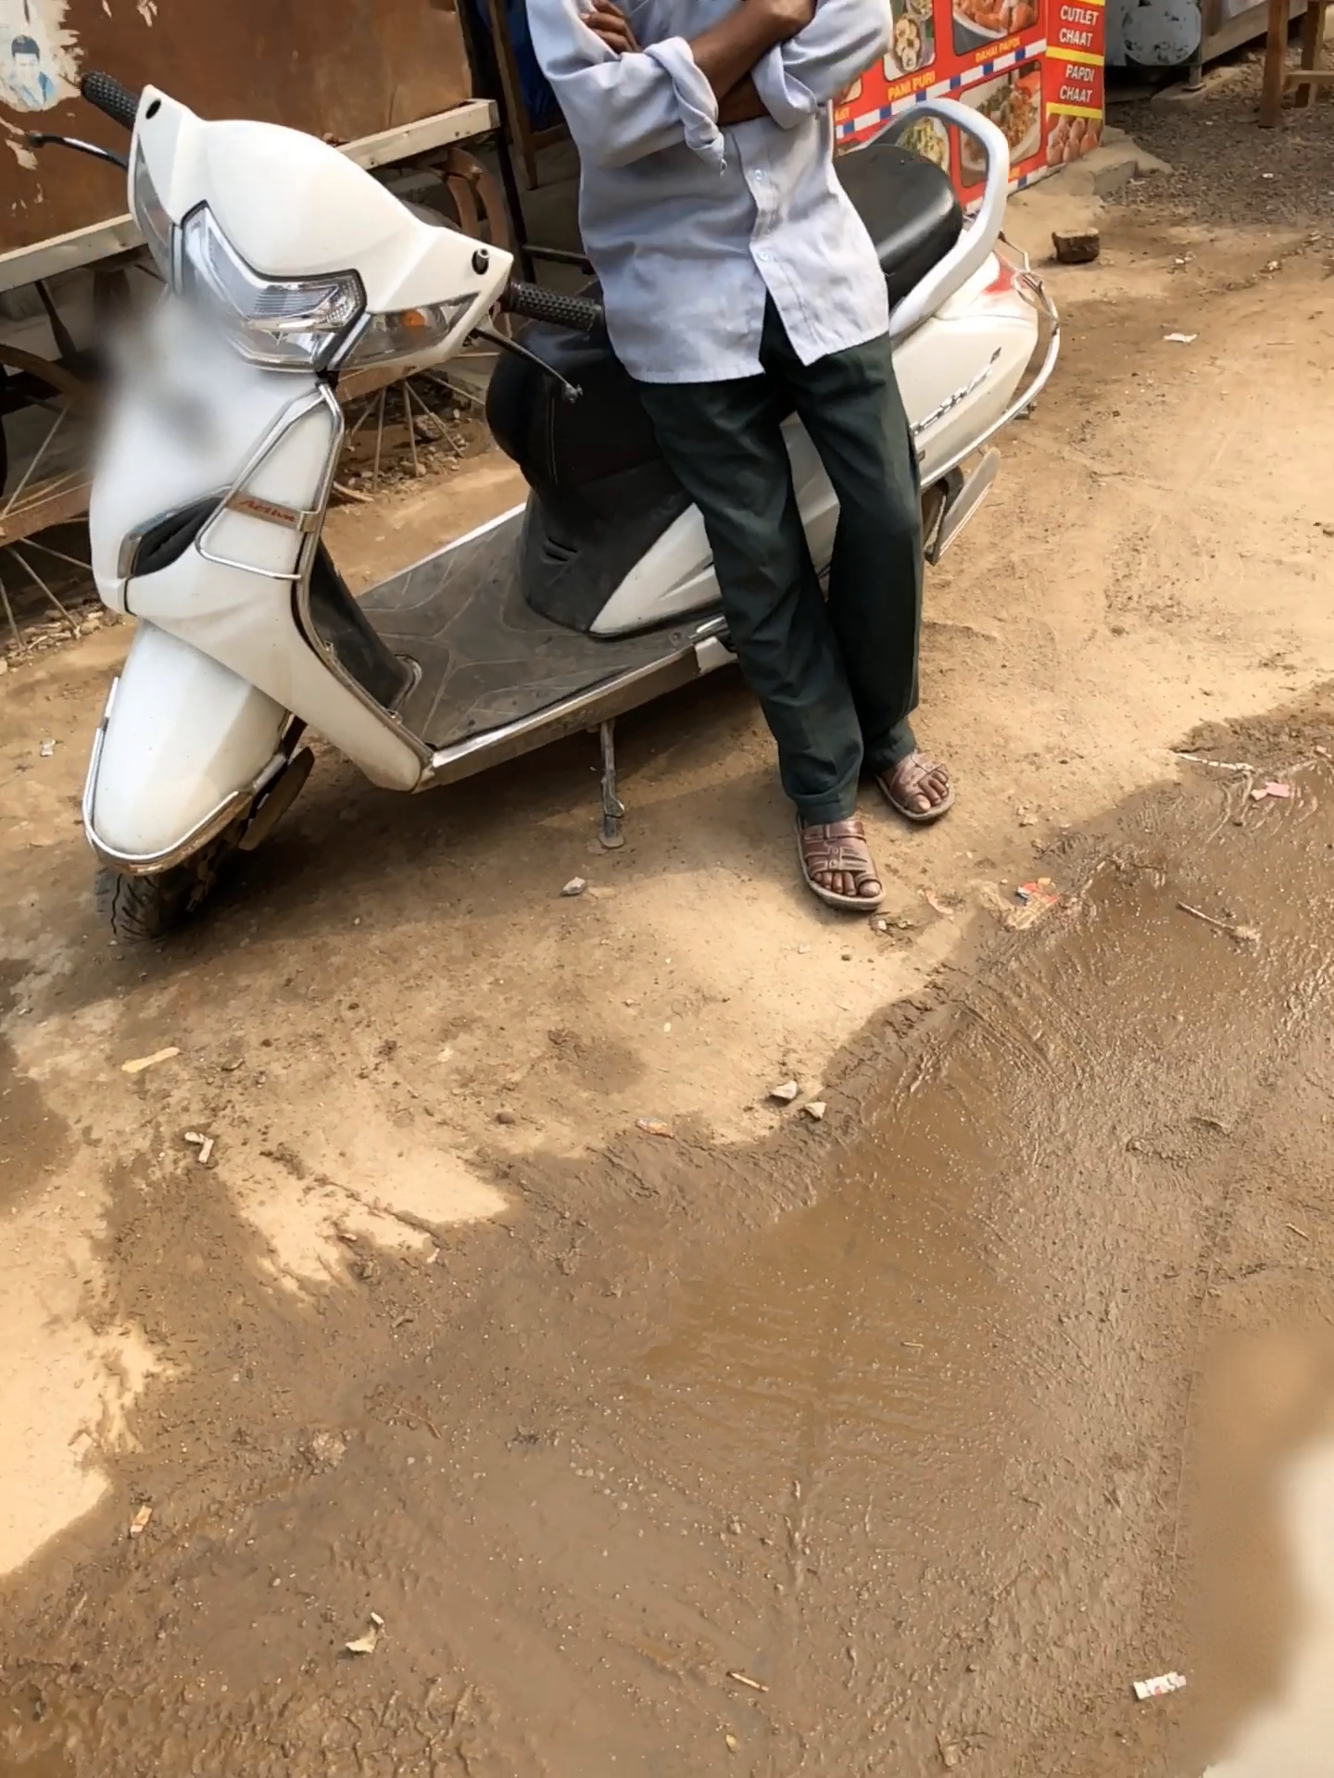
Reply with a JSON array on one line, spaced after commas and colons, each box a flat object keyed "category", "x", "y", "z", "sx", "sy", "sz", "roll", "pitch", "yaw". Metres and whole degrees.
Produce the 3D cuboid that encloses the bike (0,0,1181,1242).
[{"category": "bike", "x": -0.122, "y": -0.524, "z": 2.003, "sx": 1.580, "sy": 1.113, "sz": 0.657, "roll": -30, "pitch": 42, "yaw": -21}]
